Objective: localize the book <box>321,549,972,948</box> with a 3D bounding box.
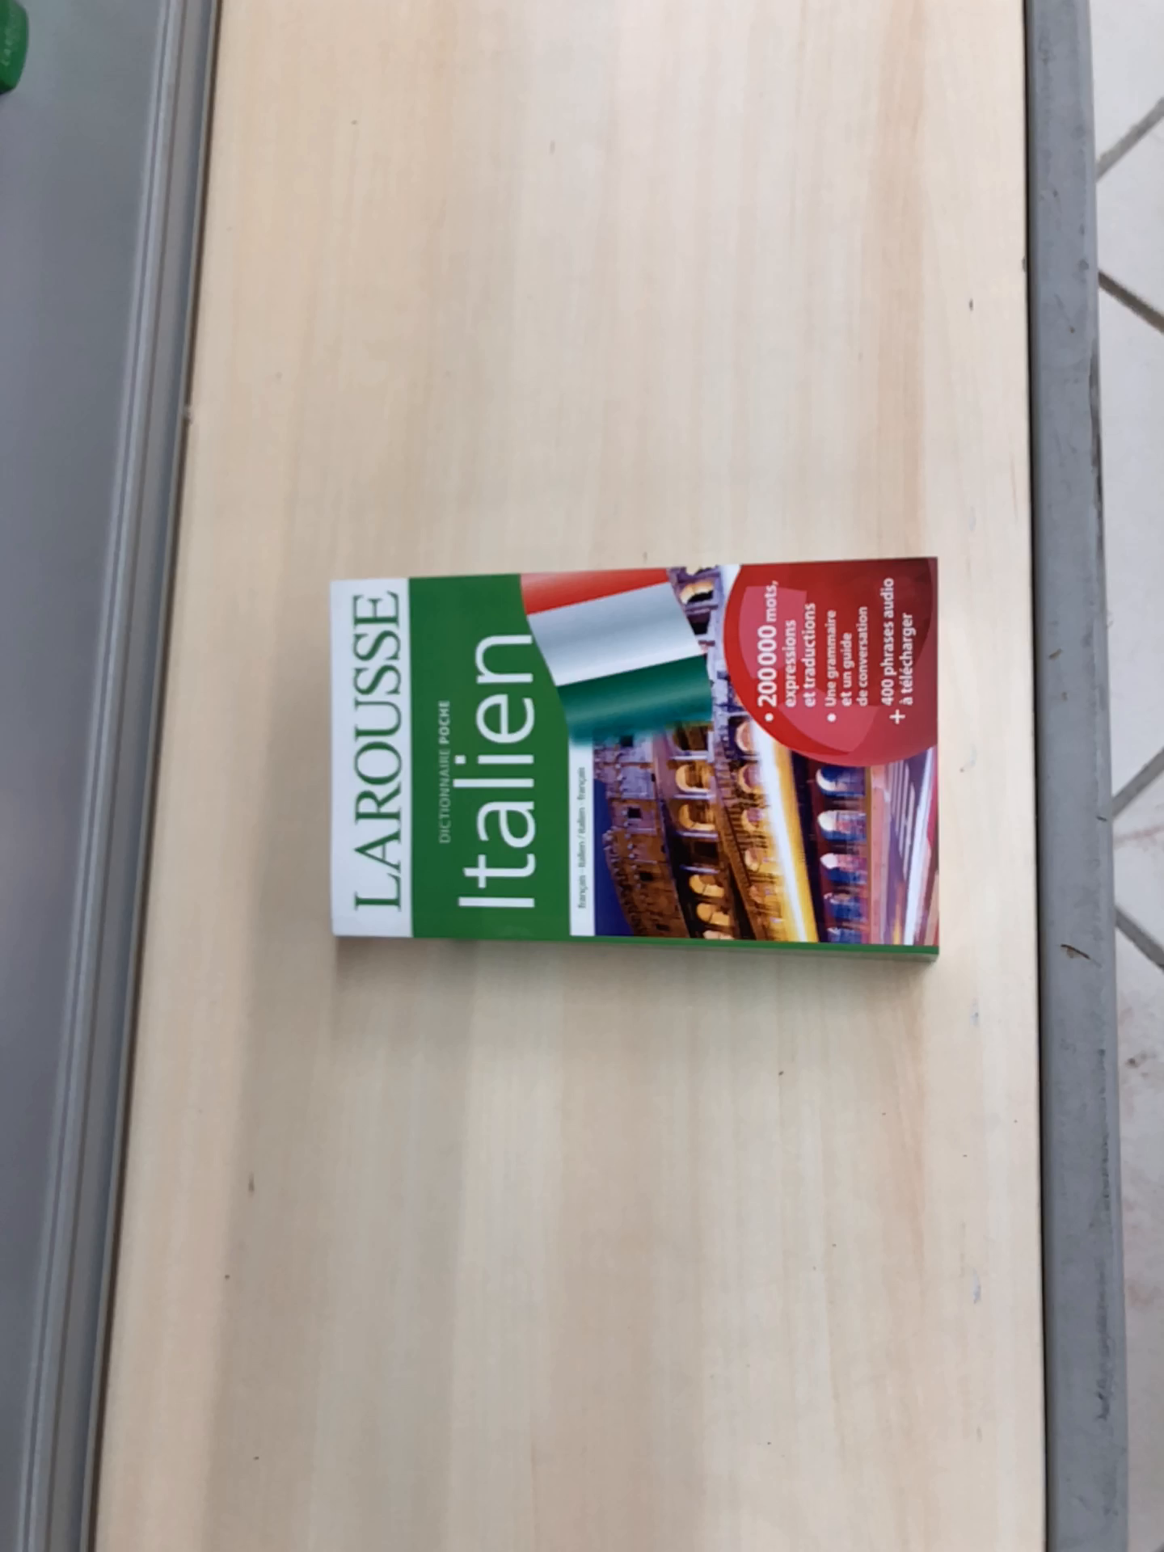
[{"bbox_3d":[0.020,-0.005,0.390,0.183,0.045,0.106,-1,78,14],"label":"book"}]
